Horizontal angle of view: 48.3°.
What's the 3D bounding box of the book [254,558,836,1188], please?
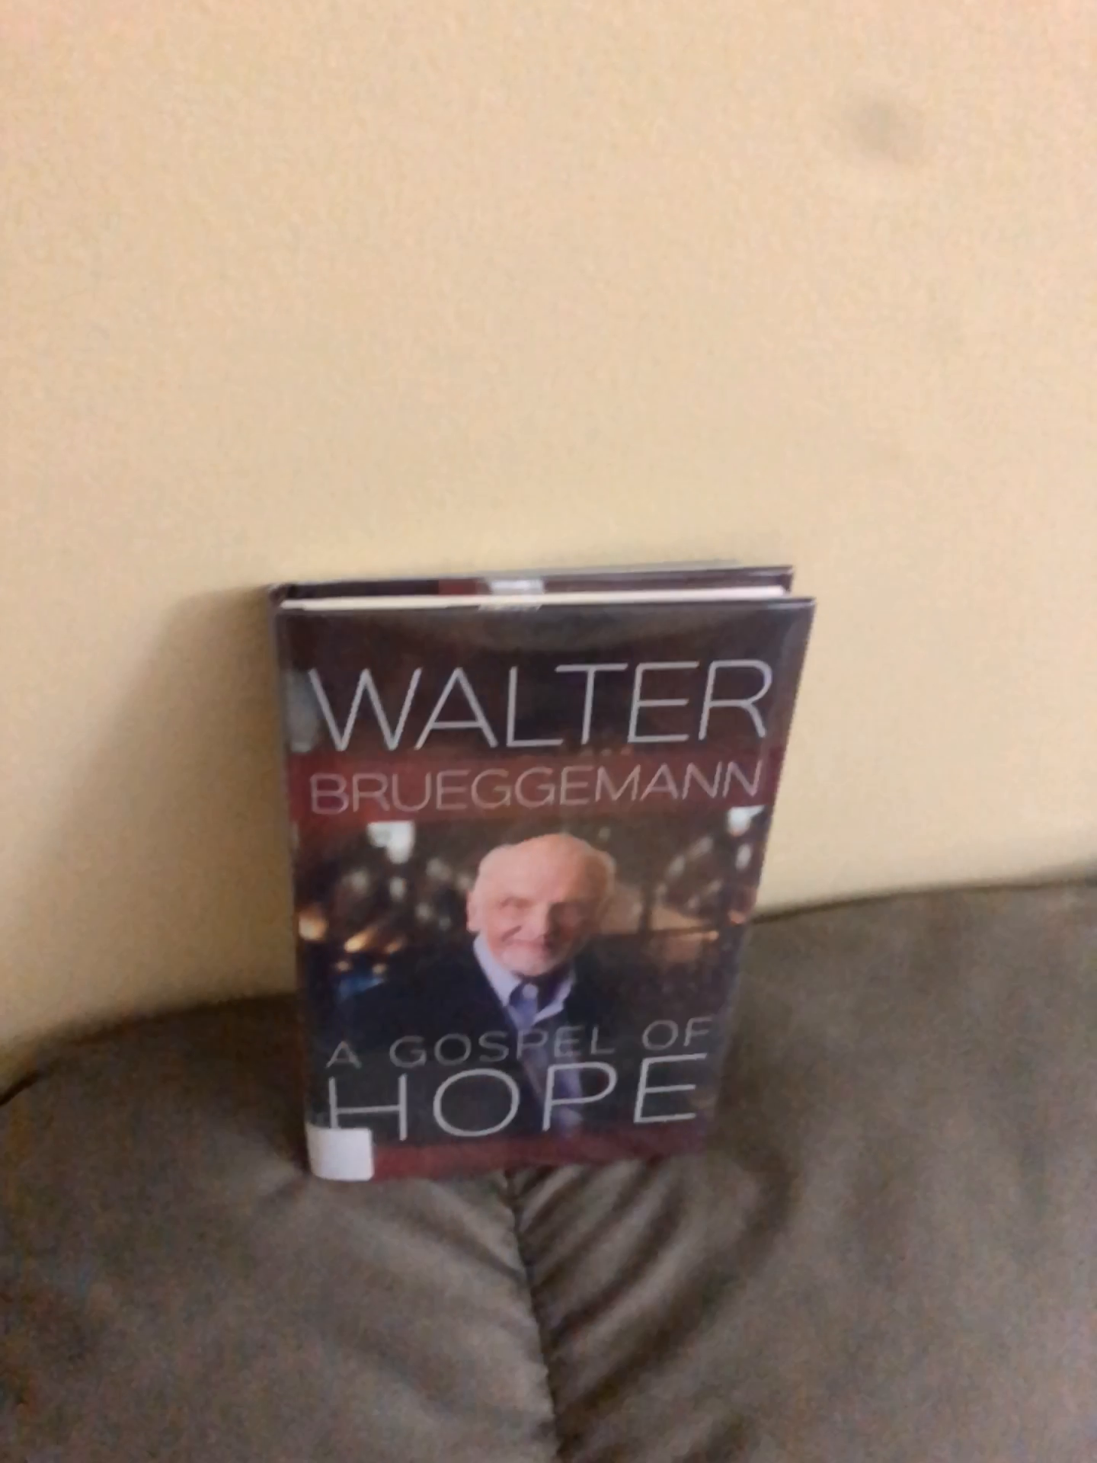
[{"bbox_3d":[-0.004,0.052,0.360,0.140,0.210,0.027,-1,32,-5],"label":"book"}]
